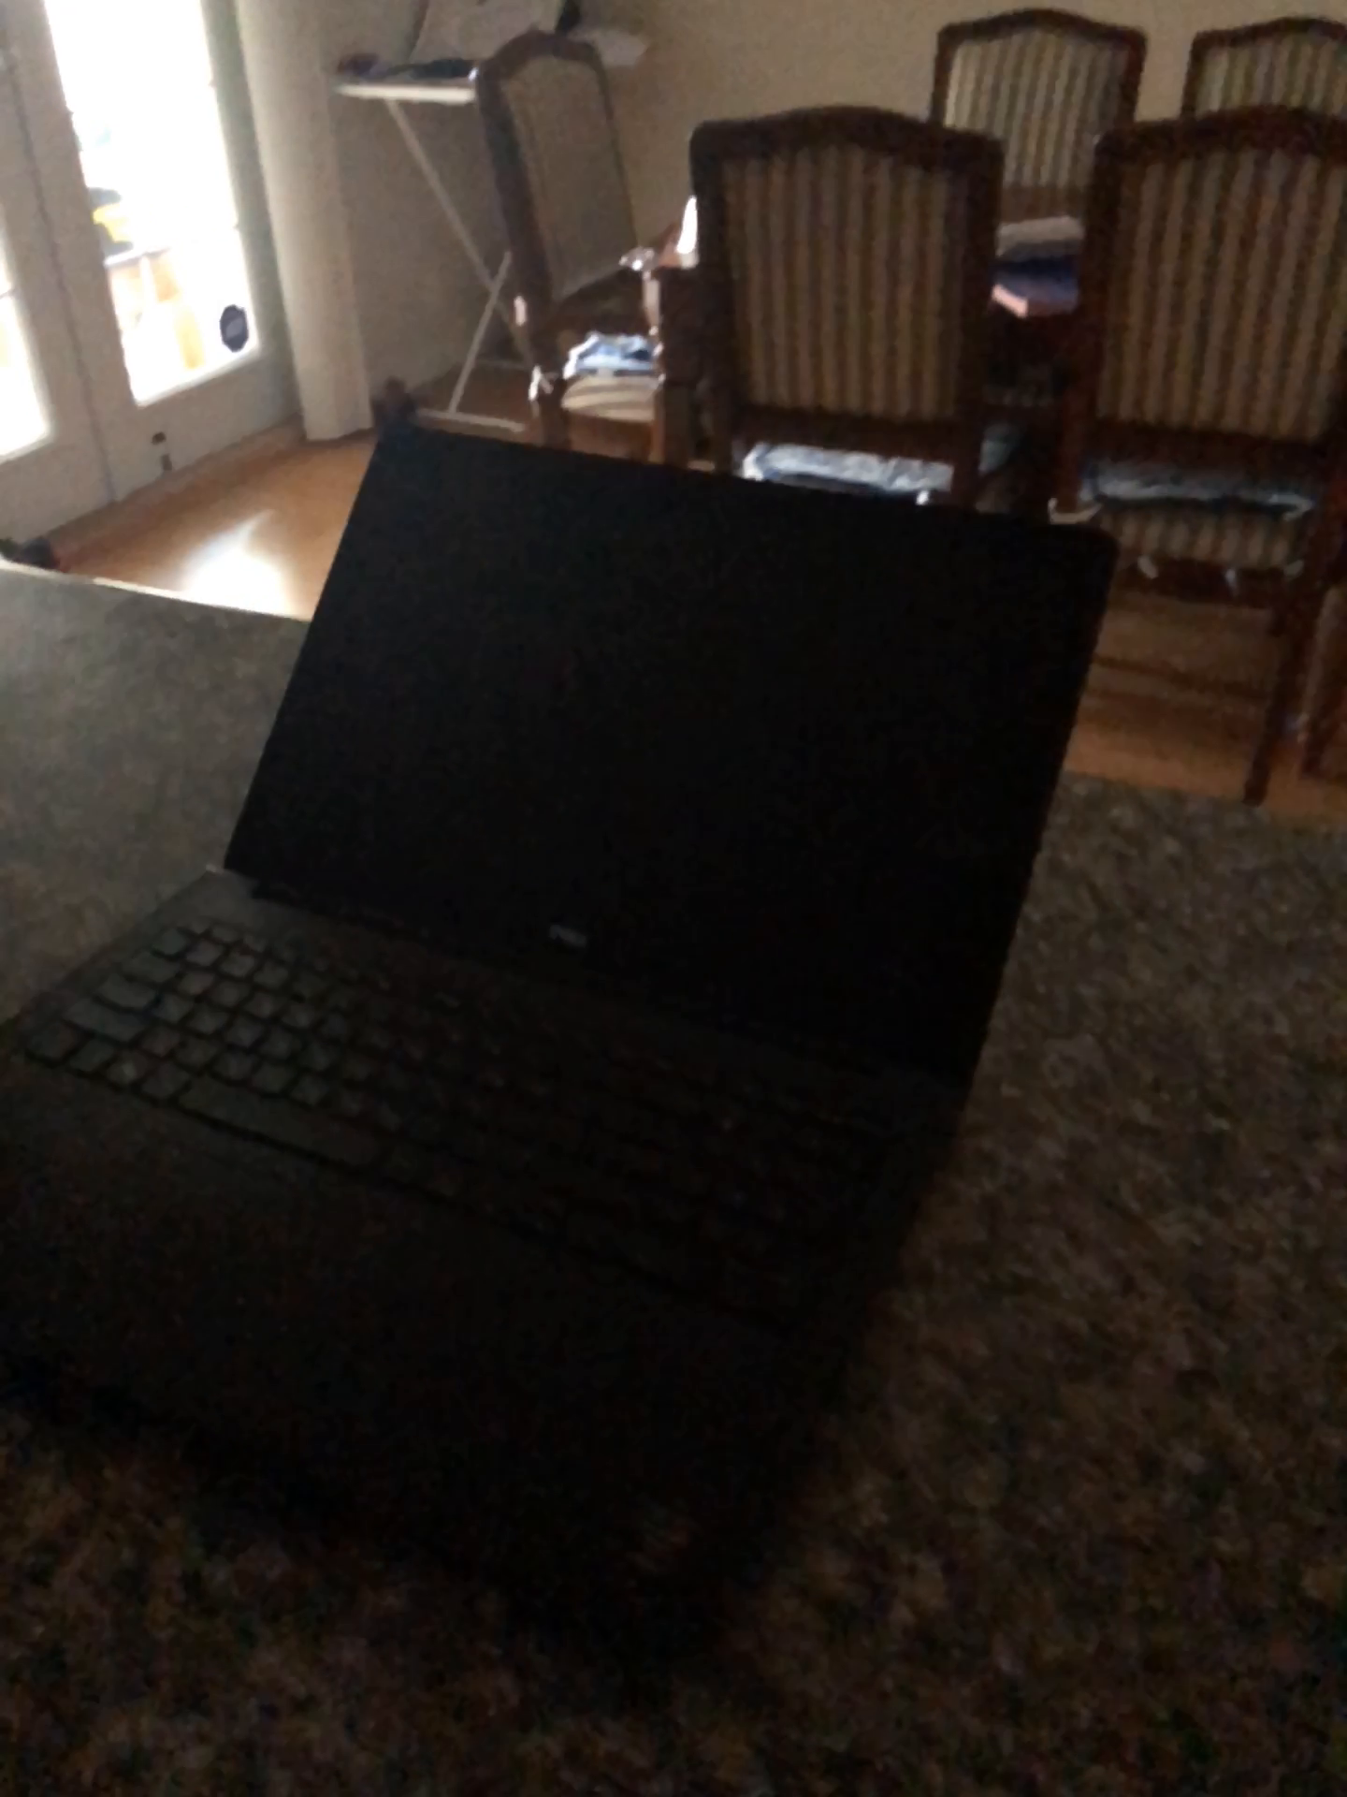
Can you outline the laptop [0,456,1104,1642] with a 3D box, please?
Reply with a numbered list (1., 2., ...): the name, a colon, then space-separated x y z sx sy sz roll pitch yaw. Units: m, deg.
1. laptop: -0.070 -0.011 0.578 0.361 0.158 0.416 15 37 21
